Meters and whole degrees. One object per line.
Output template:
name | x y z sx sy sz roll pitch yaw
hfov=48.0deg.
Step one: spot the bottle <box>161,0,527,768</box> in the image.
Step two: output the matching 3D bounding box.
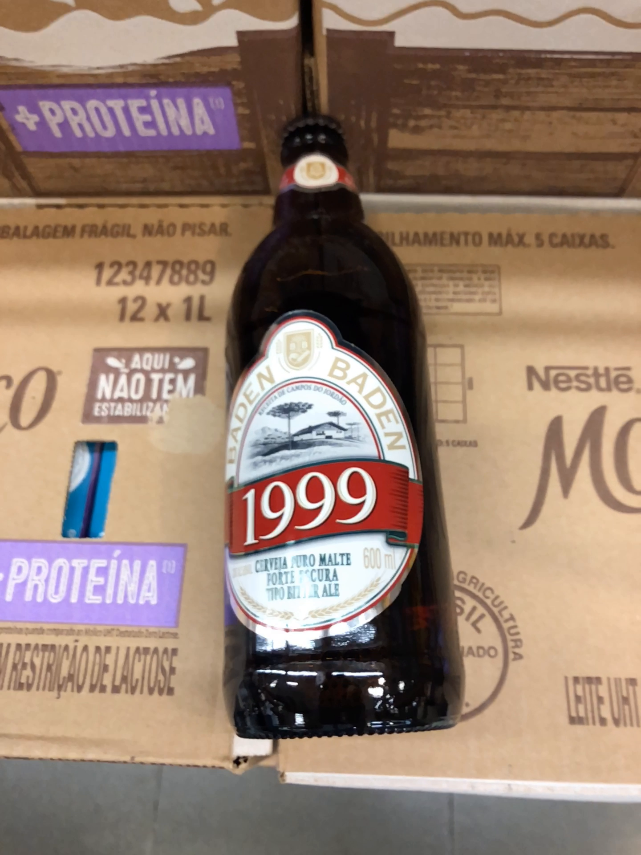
bottle | -0.002 -0.030 0.277 0.090 0.100 0.281 -4 67 1
